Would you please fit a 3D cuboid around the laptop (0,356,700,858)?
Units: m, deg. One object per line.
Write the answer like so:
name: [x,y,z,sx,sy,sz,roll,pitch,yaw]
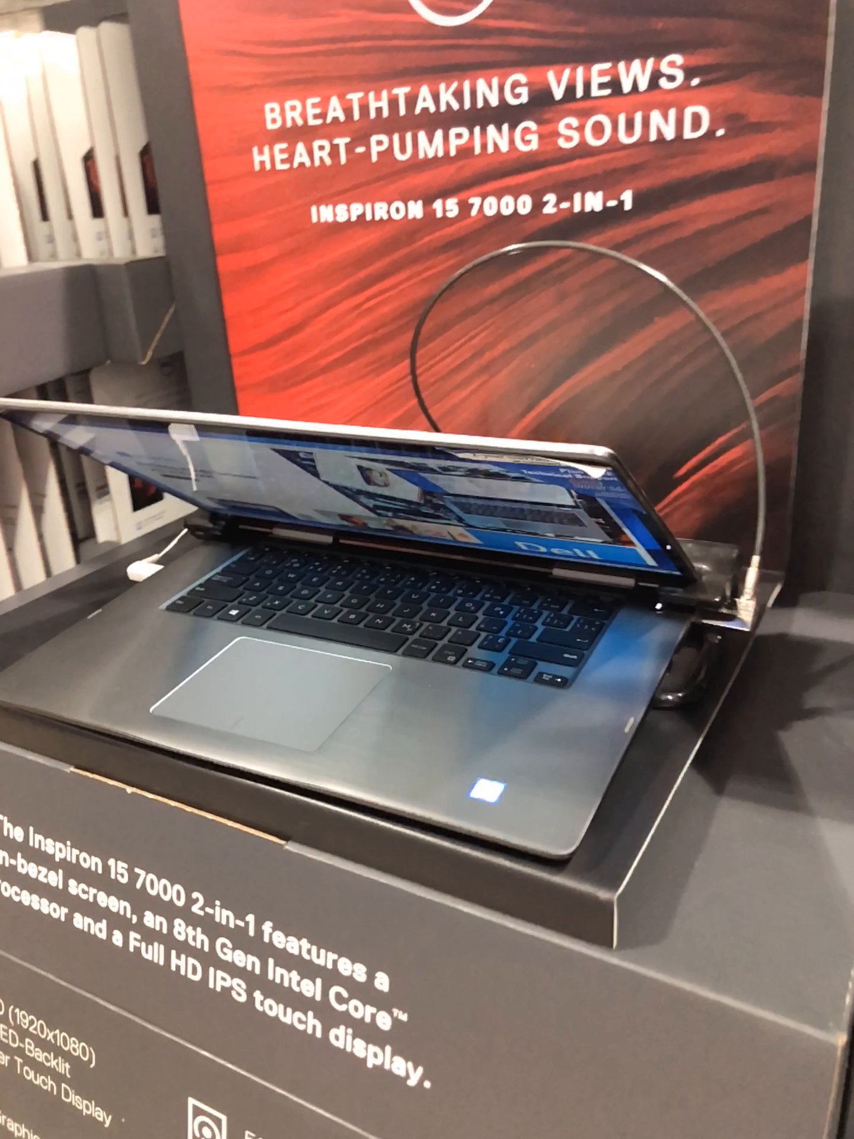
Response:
laptop: [-0.056,-0.017,0.520,0.356,0.137,0.212,8,28,27]
